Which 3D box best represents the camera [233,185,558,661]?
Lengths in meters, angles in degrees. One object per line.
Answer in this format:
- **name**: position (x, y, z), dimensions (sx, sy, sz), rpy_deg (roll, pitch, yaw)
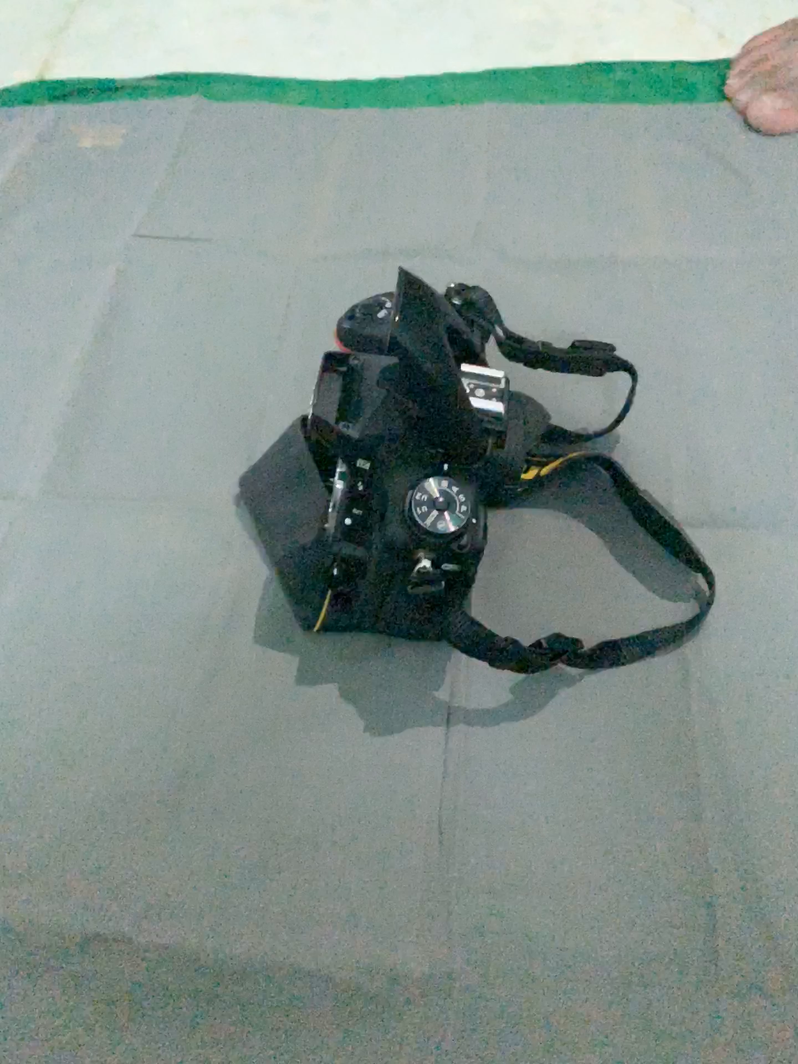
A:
- **camera**: position (0.004, -0.043, 0.346), dimensions (0.100, 0.125, 0.140), rpy_deg (7, 55, 2)
